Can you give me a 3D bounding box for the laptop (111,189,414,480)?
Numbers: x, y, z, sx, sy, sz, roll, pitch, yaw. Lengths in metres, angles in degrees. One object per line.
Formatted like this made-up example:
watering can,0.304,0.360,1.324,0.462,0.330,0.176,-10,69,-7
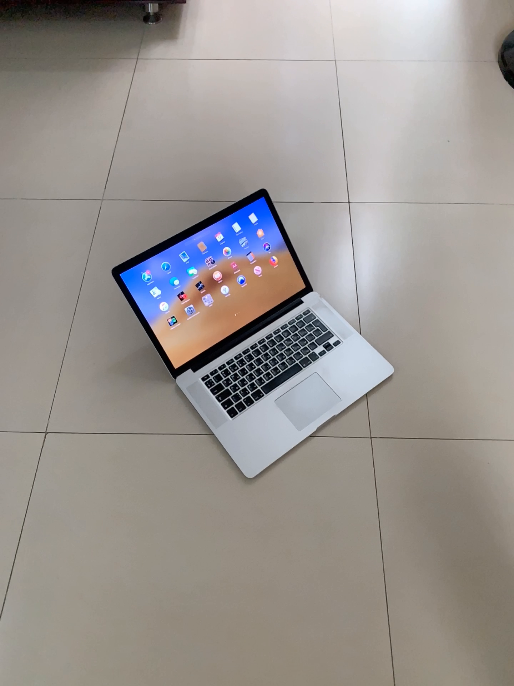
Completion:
laptop,0.001,-0.037,0.986,0.352,0.162,0.415,-33,63,-19
